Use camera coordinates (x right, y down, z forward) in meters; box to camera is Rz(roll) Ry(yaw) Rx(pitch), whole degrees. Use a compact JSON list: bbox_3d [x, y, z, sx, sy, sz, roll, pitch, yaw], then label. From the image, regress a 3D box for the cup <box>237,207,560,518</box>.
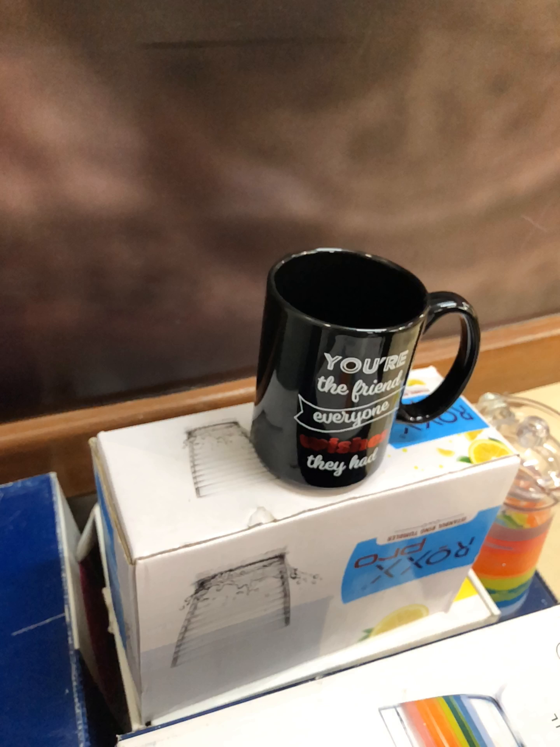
[{"bbox_3d":[0.053,-0.011,0.323,0.130,0.109,0.090,-10,39,-17],"label":"cup"}]
